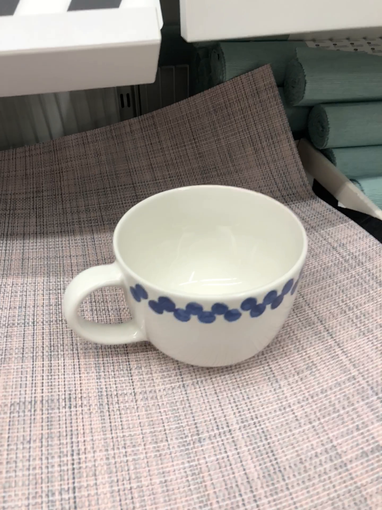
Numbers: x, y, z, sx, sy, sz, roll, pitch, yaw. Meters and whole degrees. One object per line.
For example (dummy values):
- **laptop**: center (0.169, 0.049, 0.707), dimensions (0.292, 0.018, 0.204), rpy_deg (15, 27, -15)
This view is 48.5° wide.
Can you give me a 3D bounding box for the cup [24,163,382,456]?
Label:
- **cup**: center (0.000, 0.014, 0.228), dimensions (0.150, 0.060, 0.110), rpy_deg (-15, 40, -16)
